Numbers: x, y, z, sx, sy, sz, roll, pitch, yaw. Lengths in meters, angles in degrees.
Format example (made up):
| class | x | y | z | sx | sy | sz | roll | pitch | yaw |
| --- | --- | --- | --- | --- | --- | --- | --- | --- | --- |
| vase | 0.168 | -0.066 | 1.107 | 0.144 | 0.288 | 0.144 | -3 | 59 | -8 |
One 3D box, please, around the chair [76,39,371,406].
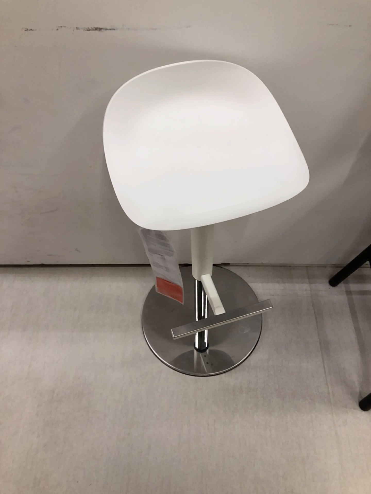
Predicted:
| class | x | y | z | sx | sy | sz | roll | pitch | yaw |
| --- | --- | --- | --- | --- | --- | --- | --- | --- | --- |
| chair | 0.062 | -0.007 | 1.060 | 0.440 | 0.746 | 0.512 | -15 | 56 | -9 |
